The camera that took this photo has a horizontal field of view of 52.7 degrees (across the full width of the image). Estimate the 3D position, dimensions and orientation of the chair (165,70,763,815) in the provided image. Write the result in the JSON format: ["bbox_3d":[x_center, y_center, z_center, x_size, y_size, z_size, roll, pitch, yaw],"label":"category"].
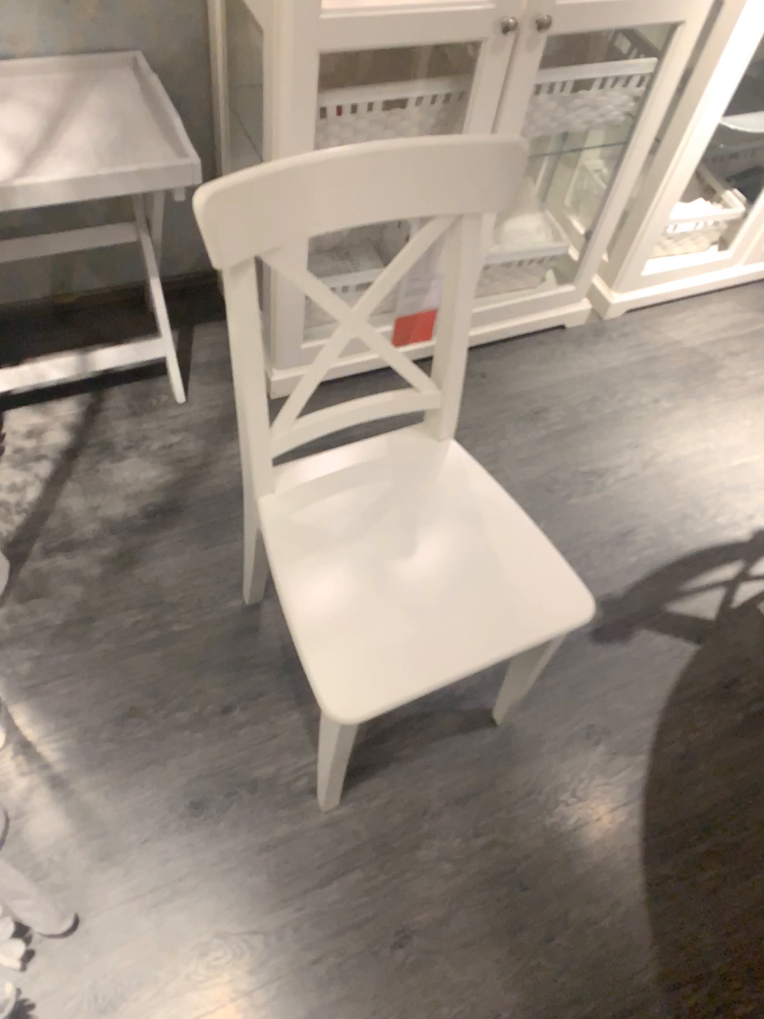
[{"bbox_3d":[0.039,-0.012,1.052,0.440,0.858,0.491,-18,61,-20],"label":"chair"}]
